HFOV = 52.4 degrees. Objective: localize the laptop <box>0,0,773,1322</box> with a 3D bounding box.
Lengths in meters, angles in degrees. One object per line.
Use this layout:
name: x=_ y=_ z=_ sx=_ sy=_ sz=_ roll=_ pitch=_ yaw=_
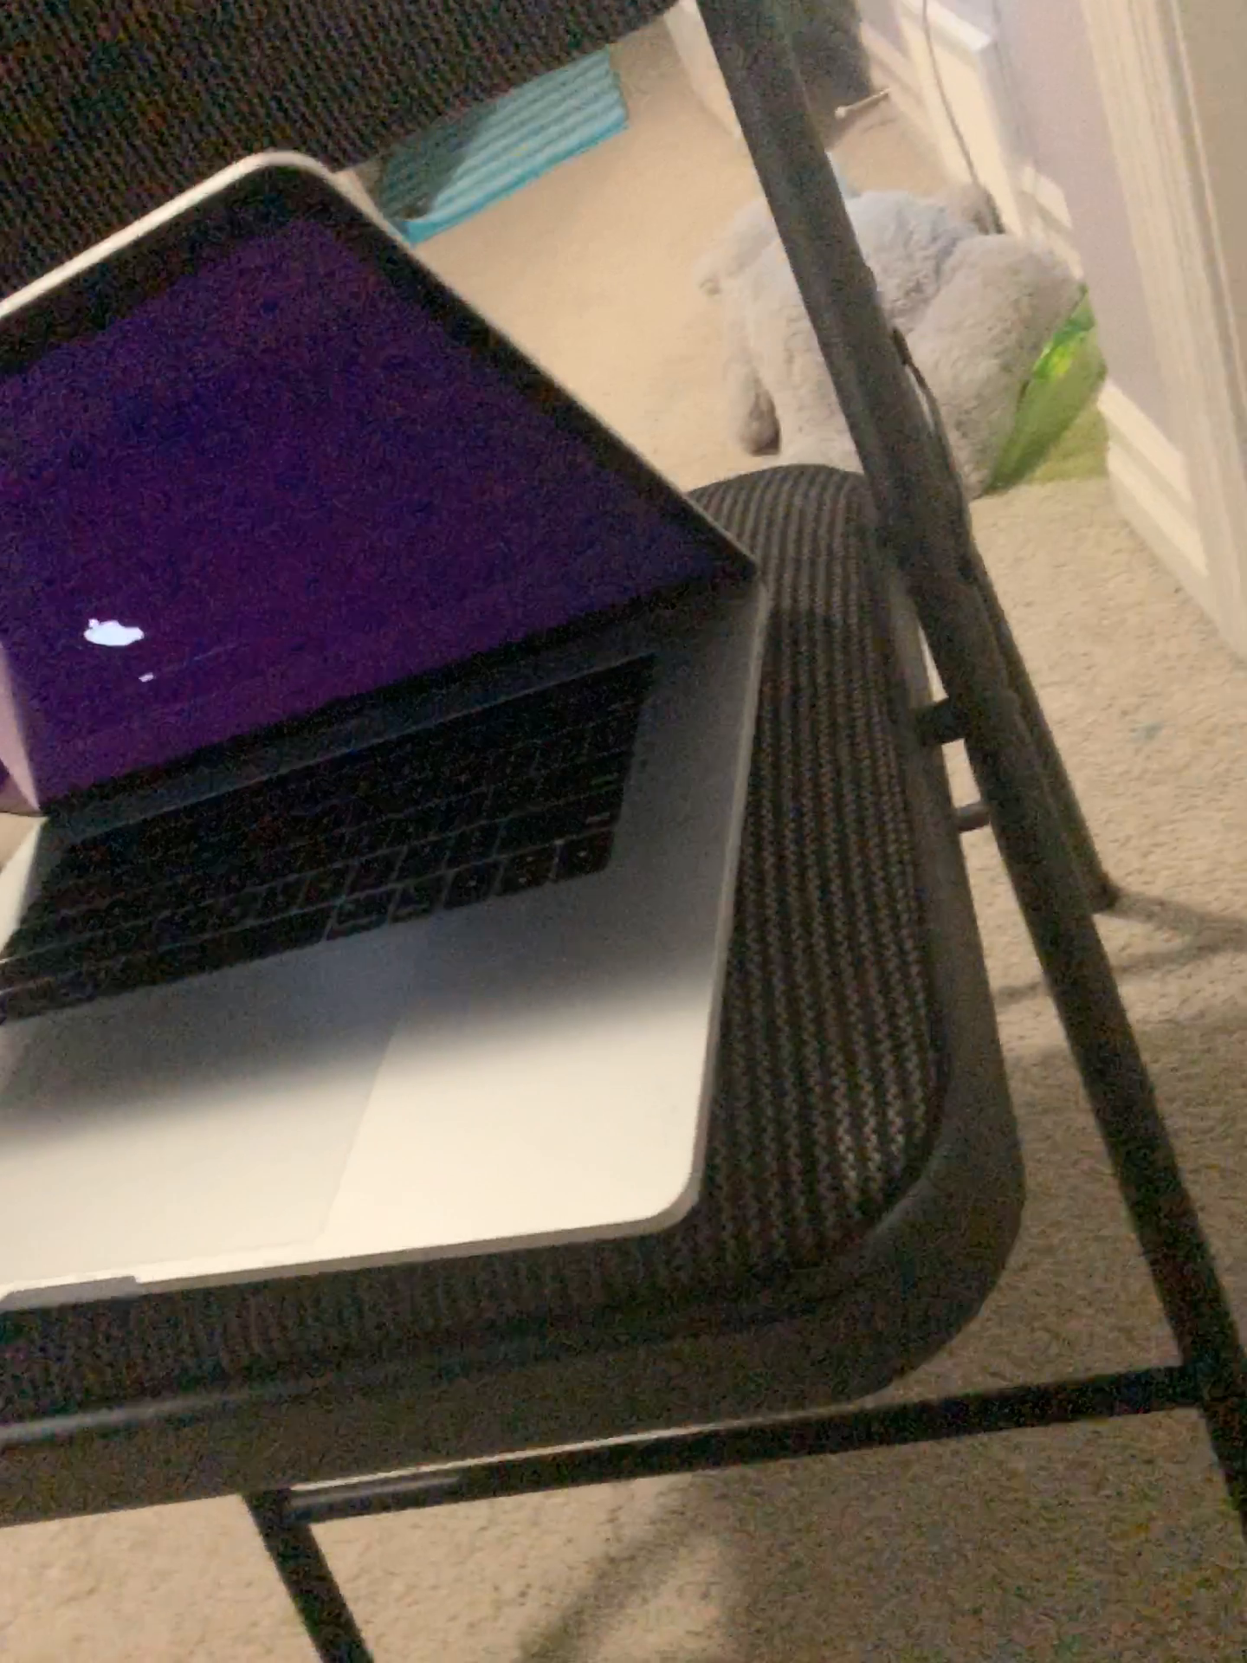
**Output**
laptop: x=-0.156 y=-0.029 z=0.350 sx=0.334 sy=0.188 sz=0.231 roll=-15 pitch=39 yaw=25
